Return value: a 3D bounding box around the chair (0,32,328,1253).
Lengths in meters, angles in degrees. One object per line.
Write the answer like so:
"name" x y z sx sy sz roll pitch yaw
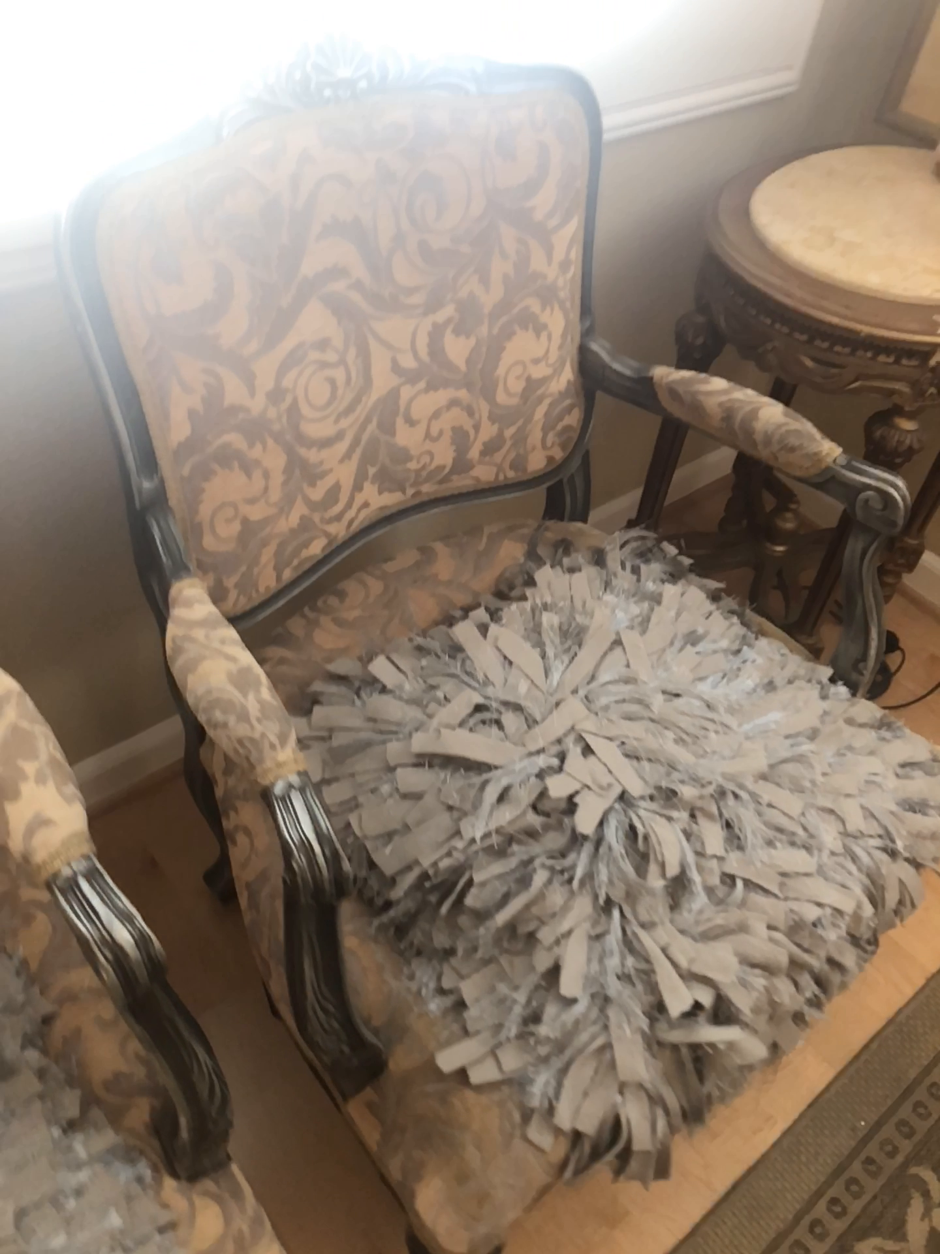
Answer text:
"chair" -0.536 0.312 0.593 0.693 0.952 0.602 -22 52 -25

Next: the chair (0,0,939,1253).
"chair" 0.048 0.001 0.980 0.744 0.853 0.782 -28 55 -30
